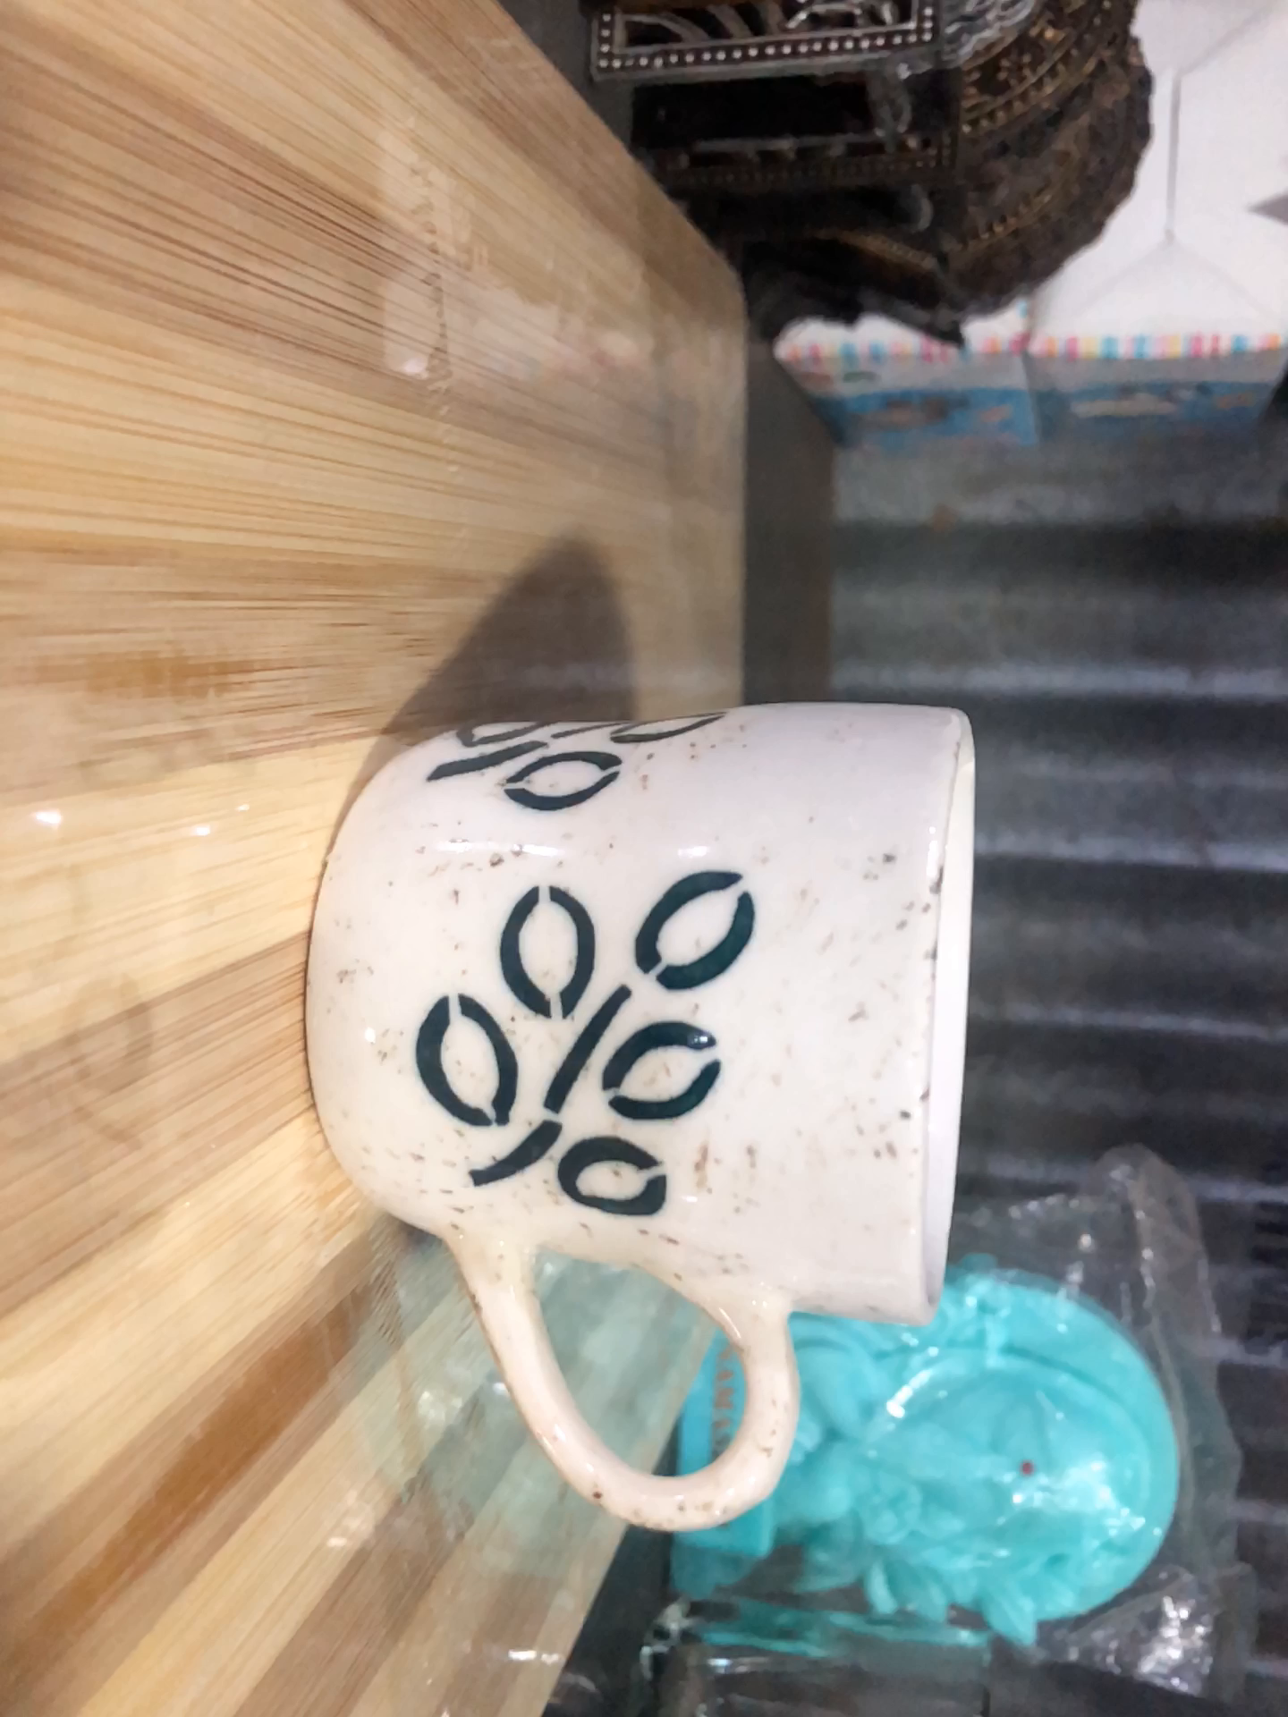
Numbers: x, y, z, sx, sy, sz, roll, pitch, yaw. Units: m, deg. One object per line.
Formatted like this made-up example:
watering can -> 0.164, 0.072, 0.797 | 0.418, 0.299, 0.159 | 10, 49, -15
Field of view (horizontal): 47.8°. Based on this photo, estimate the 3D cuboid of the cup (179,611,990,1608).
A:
cup -> 0.004, 0.029, 0.178 | 0.080, 0.070, 0.090 | 54, 41, -70
